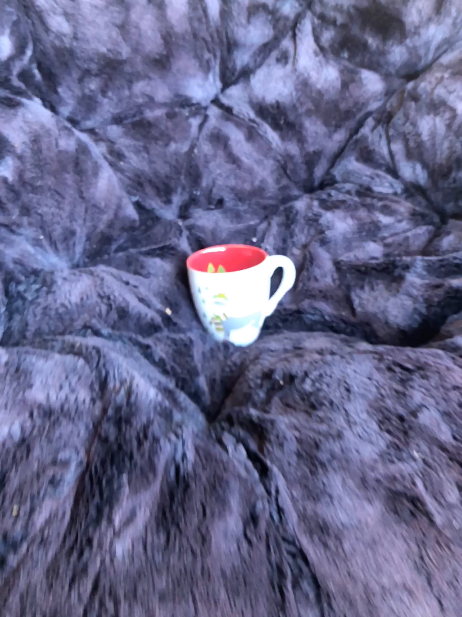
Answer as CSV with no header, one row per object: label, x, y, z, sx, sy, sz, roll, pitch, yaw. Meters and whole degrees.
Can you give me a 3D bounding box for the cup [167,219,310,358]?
cup,0.011,-0.030,0.655,0.140,0.110,0.100,-19,33,-25
